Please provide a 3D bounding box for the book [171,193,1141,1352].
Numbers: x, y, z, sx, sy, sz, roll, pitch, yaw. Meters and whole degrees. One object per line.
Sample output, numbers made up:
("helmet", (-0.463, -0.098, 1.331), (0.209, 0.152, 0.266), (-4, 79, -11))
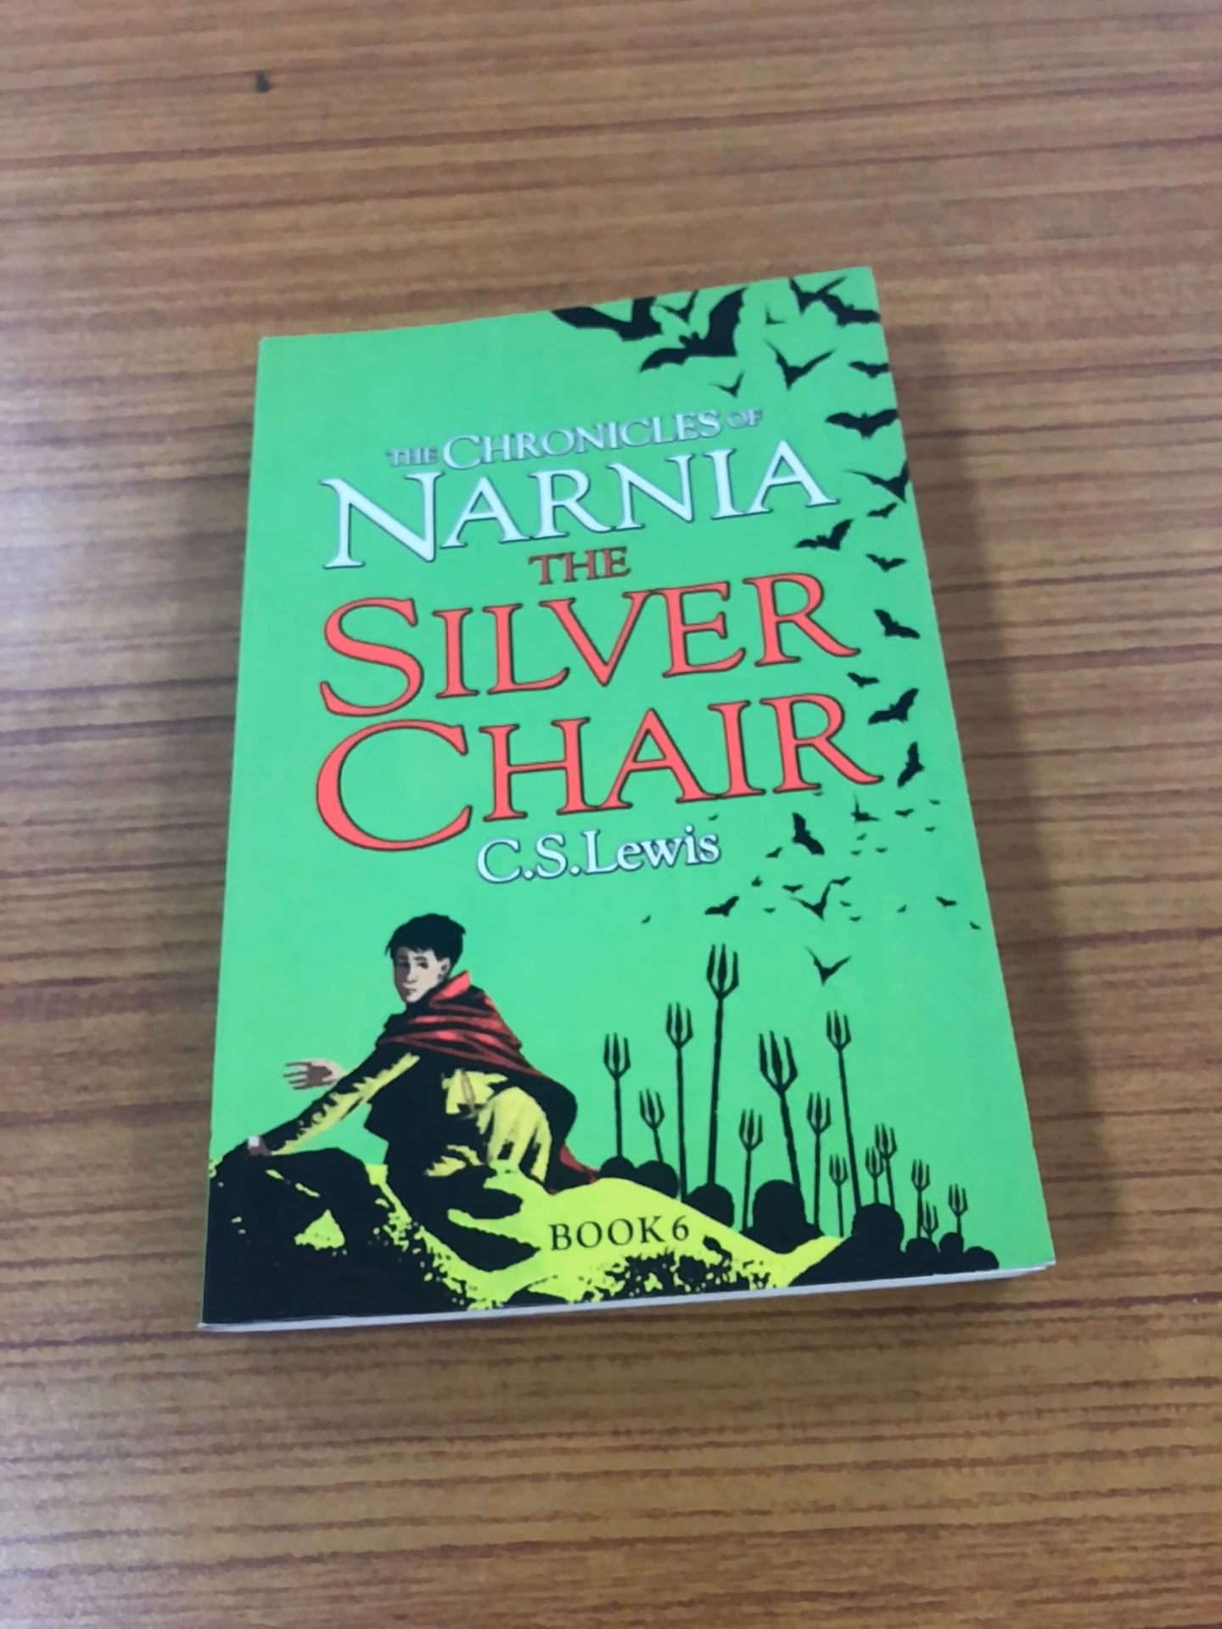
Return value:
("book", (0.000, -0.019, 0.254), (0.140, 0.030, 0.210), (-5, 66, 1))
